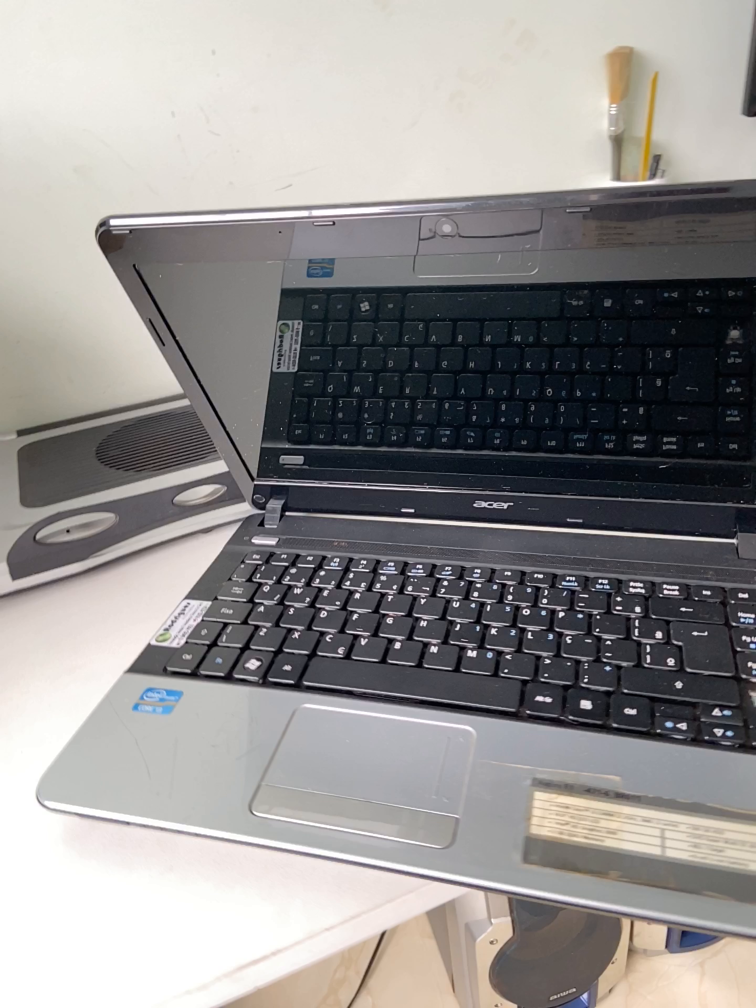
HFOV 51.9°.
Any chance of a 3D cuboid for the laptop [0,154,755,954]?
[{"bbox_3d":[0.025,-0.014,0.343,0.326,0.211,0.240,3,31,16],"label":"laptop"}]
